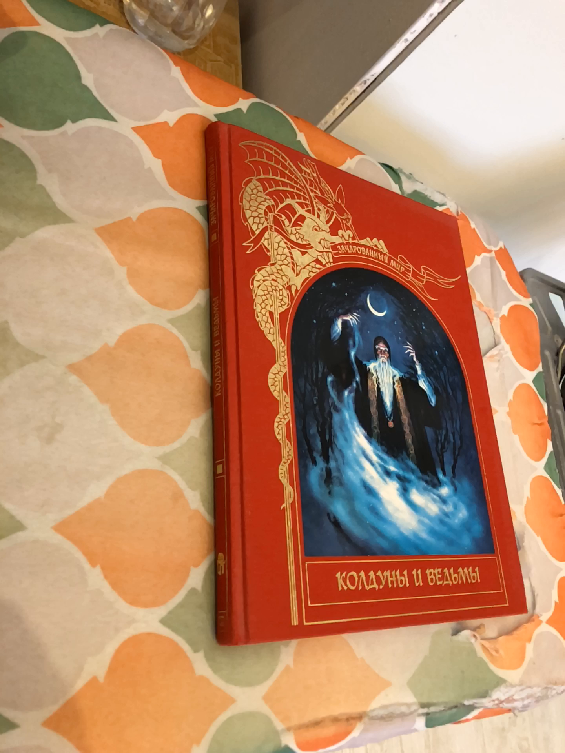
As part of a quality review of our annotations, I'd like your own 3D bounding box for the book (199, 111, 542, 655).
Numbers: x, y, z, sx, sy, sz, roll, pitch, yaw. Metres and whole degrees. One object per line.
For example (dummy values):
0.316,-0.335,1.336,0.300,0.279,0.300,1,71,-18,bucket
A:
0.054,-0.001,0.378,0.216,0.020,0.291,10,66,-33,book
